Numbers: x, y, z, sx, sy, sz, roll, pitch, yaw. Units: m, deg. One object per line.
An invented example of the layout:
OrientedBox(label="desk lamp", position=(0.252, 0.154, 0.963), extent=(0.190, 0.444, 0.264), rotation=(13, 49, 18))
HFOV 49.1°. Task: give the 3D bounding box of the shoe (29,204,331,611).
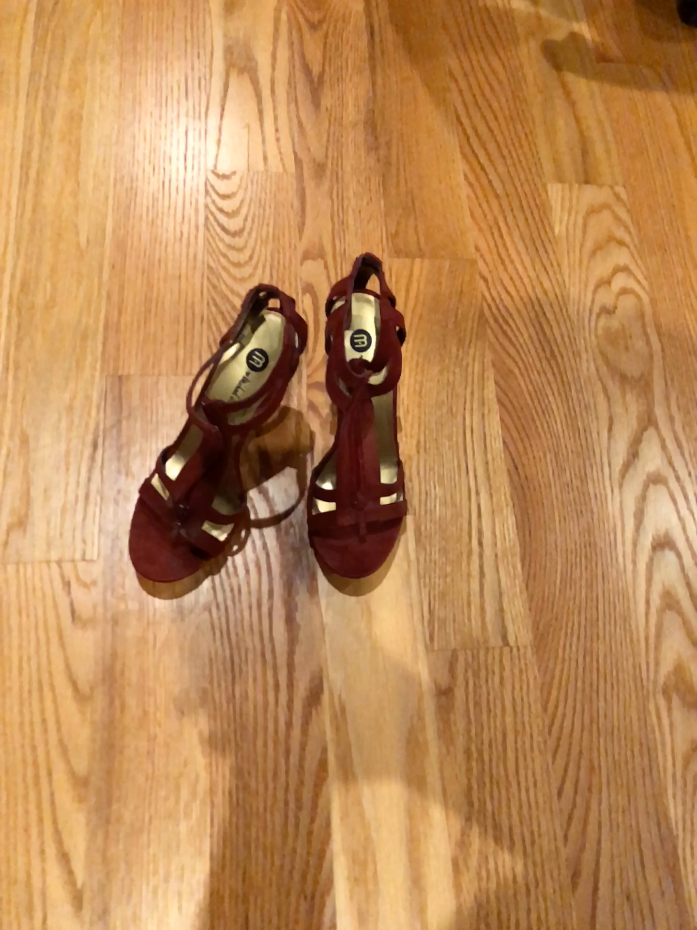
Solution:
OrientedBox(label="shoe", position=(-0.097, -0.027, 0.509), extent=(0.085, 0.176, 0.199), rotation=(23, 68, 2))

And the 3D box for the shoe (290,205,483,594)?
OrientedBox(label="shoe", position=(0.012, -0.034, 0.521), extent=(0.085, 0.176, 0.207), rotation=(-2, 69, -8))
